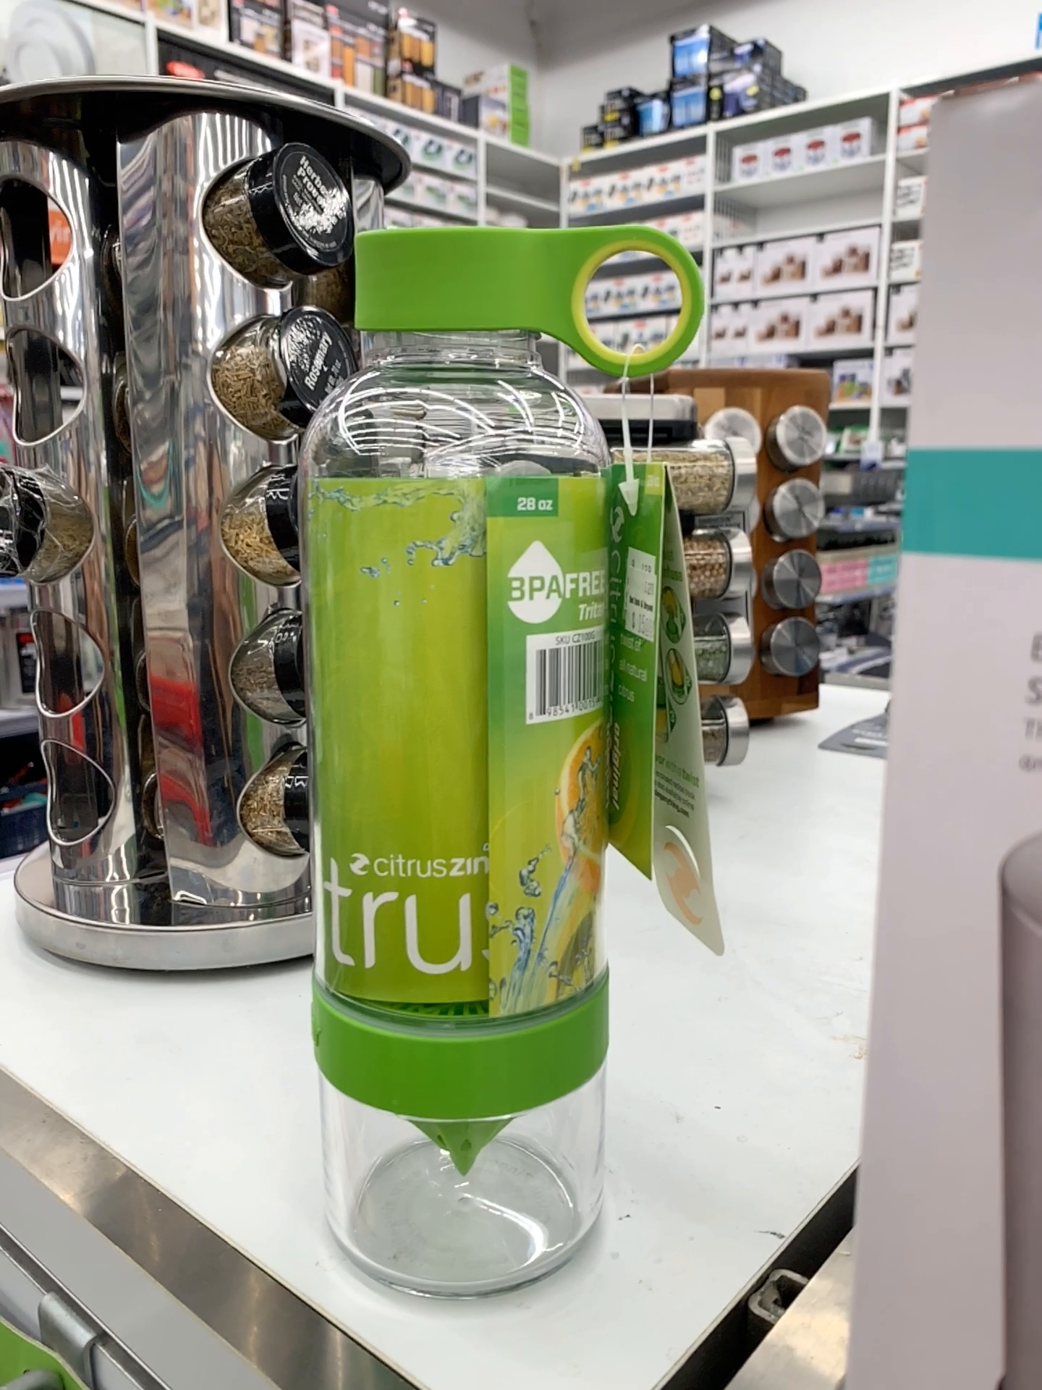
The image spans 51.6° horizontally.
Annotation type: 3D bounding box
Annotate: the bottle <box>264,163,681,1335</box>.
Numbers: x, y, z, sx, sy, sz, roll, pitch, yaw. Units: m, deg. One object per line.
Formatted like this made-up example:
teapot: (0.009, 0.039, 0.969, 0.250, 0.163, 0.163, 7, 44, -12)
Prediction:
bottle: (-0.017, 0.015, 0.271, 0.081, 0.251, 0.078, 0, 11, 0)
